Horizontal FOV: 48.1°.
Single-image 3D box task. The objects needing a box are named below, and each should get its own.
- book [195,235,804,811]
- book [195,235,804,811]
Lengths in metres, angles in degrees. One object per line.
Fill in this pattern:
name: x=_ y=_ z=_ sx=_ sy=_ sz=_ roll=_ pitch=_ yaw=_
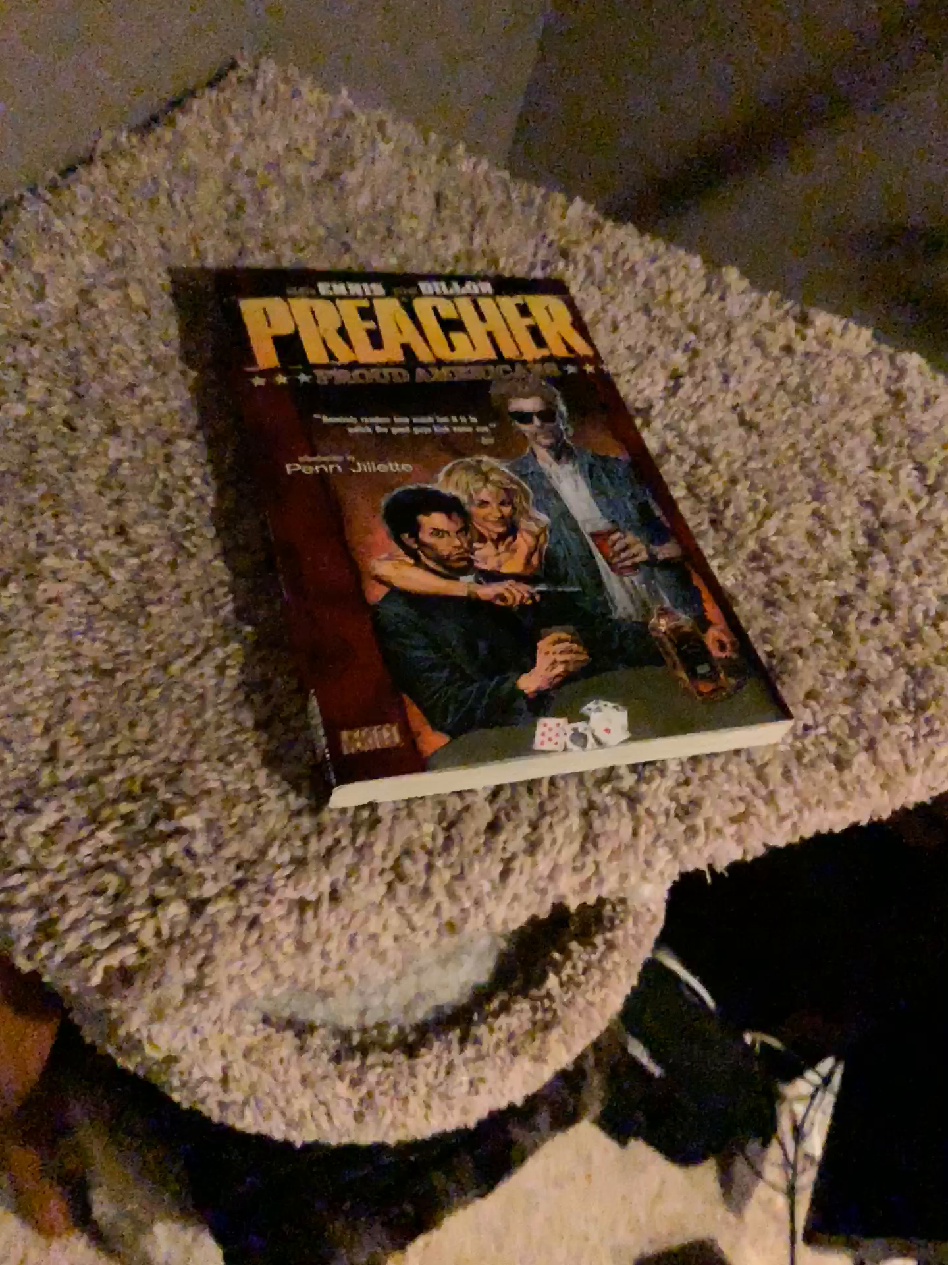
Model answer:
book: x=-0.003 y=-0.066 z=0.426 sx=0.170 sy=0.020 sz=0.270 roll=-6 pitch=55 yaw=-22
book: x=-0.003 y=-0.066 z=0.426 sx=0.170 sy=0.020 sz=0.270 roll=-6 pitch=55 yaw=-22
